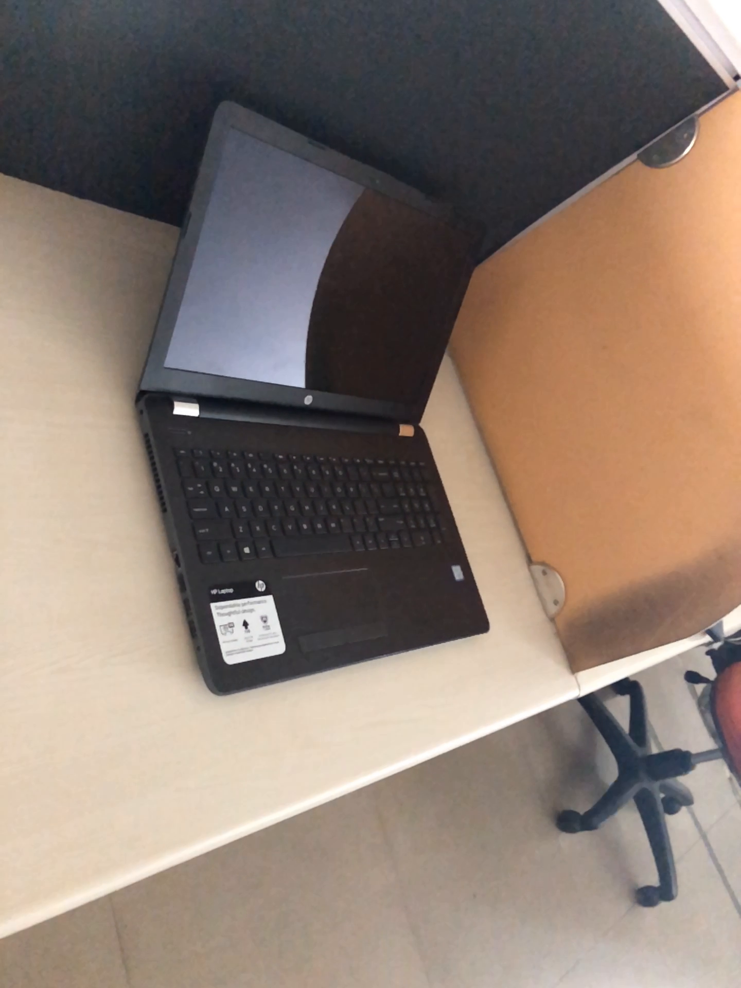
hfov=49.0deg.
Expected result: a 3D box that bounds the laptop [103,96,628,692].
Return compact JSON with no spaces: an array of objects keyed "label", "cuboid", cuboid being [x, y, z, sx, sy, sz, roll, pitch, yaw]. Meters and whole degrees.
[{"label":"laptop","cuboid":[0.009,-0.076,0.752,0.379,0.173,0.408,0,67,-50]}]
